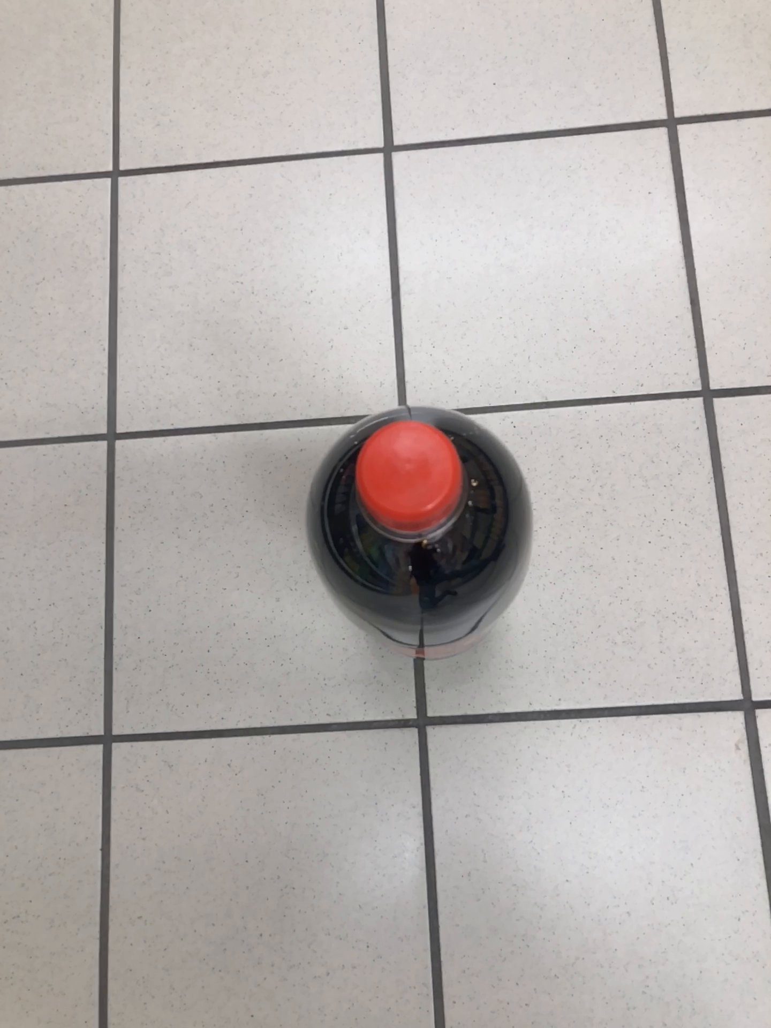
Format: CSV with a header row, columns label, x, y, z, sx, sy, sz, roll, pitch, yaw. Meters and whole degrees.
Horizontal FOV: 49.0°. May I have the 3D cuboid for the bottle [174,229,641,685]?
label,x,y,z,sx,sy,sz,roll,pitch,yaw
bottle,0.017,0.010,0.394,0.100,0.310,0.100,-1,78,4
